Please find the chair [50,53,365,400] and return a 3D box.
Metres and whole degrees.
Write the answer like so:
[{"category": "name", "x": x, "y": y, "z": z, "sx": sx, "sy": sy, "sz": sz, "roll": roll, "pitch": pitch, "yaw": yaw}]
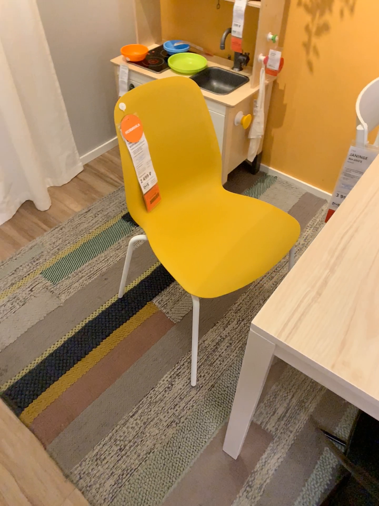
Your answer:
[{"category": "chair", "x": 0.042, "y": -0.070, "z": 1.264, "sx": 0.558, "sy": 0.809, "sz": 0.556, "roll": -36, "pitch": 58, "yaw": -29}]
